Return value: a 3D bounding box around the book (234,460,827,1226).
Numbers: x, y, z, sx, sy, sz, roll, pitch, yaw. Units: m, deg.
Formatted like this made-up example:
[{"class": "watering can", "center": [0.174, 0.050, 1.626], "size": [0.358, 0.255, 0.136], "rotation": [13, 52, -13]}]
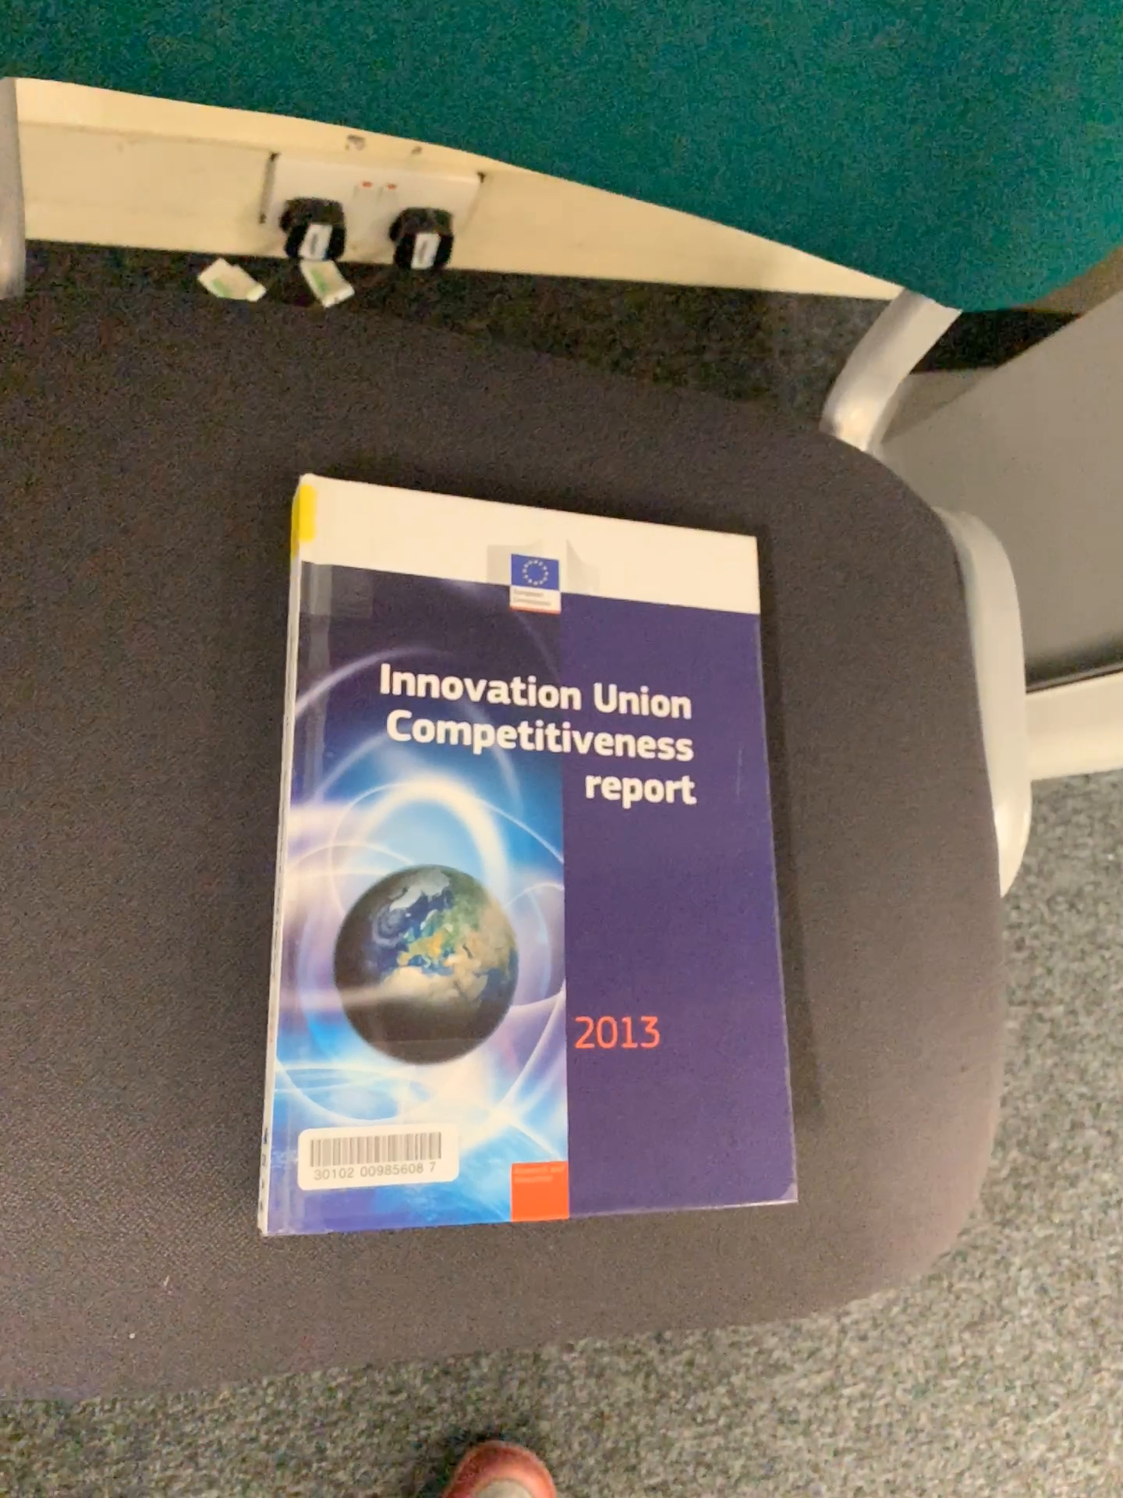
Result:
[{"class": "book", "center": [-0.007, 0.029, 0.411], "size": [0.194, 0.026, 0.250], "rotation": [4, 74, -16]}]
